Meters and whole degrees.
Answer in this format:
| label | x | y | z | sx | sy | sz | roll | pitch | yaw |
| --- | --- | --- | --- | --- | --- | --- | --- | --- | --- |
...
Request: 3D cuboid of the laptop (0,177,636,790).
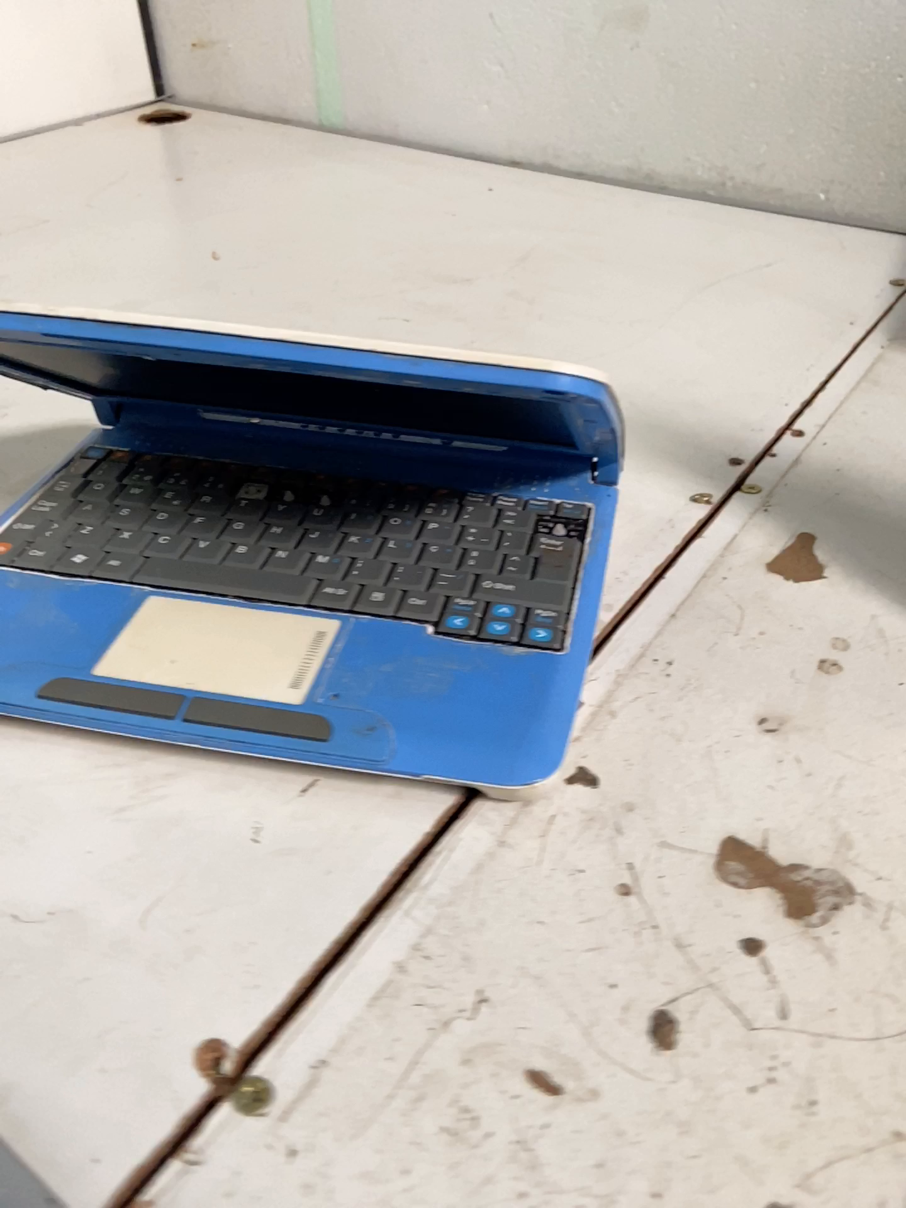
| label | x | y | z | sx | sy | sz | roll | pitch | yaw |
| --- | --- | --- | --- | --- | --- | --- | --- | --- | --- |
| laptop | -0.071 | -0.063 | 0.337 | 0.247 | 0.116 | 0.183 | 8 | 40 | 12 |
